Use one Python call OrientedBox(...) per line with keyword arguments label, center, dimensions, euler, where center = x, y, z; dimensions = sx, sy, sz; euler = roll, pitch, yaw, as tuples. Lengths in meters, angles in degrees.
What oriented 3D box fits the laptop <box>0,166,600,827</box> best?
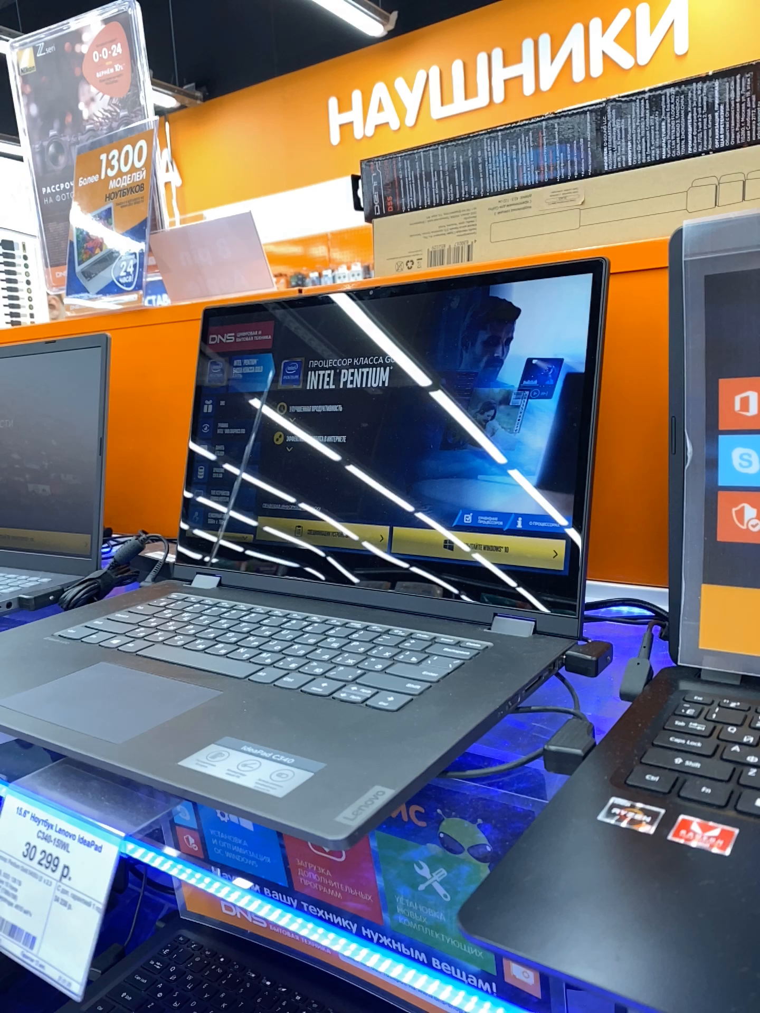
OrientedBox(label="laptop", center=(-0.091, -0.030, 0.497), dimensions=(0.363, 0.232, 0.318), euler=(3, 10, 32))
